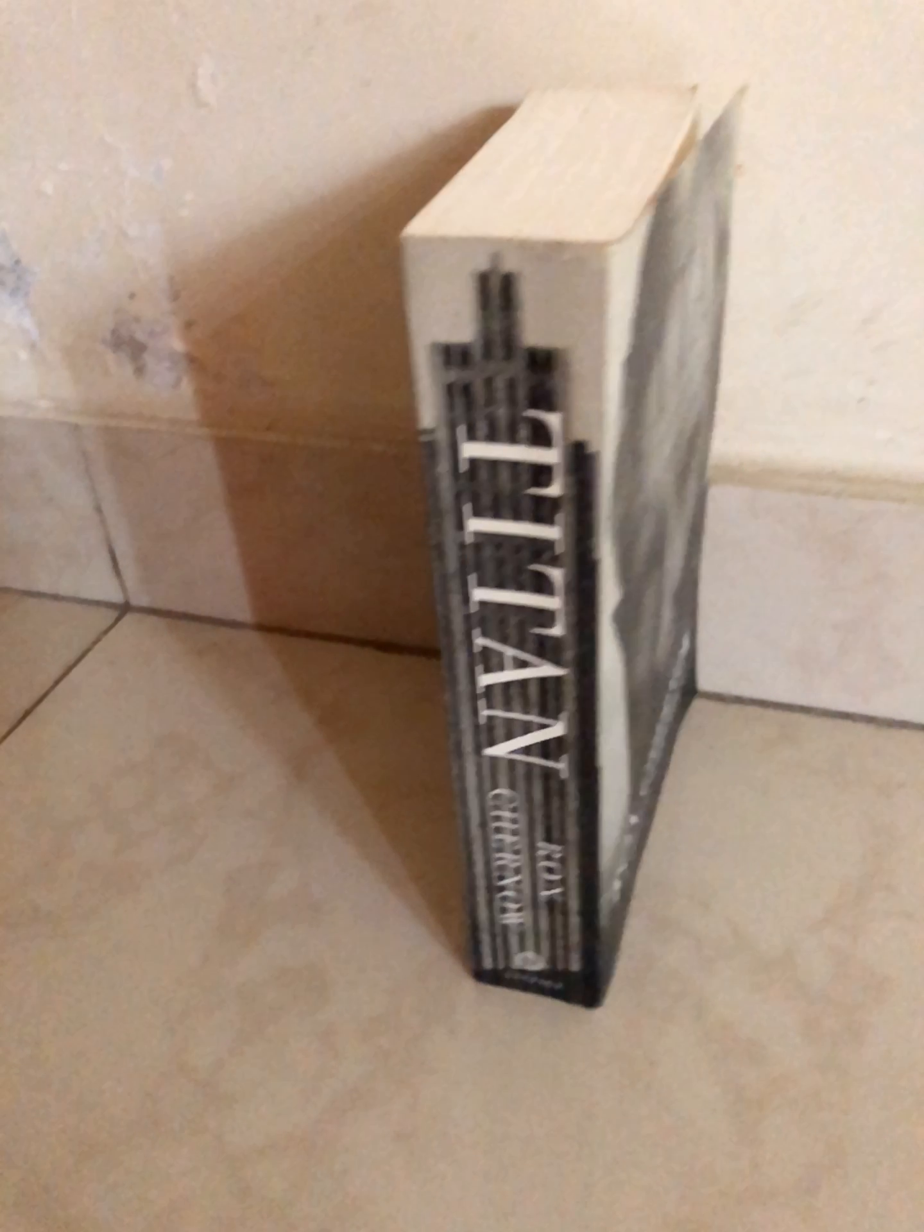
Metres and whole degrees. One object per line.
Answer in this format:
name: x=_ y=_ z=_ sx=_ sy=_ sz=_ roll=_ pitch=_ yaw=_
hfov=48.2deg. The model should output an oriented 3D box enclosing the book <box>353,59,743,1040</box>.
book: x=0.042 y=-0.029 z=0.323 sx=0.060 sy=0.229 sz=0.201 roll=6 pitch=36 yaw=14
